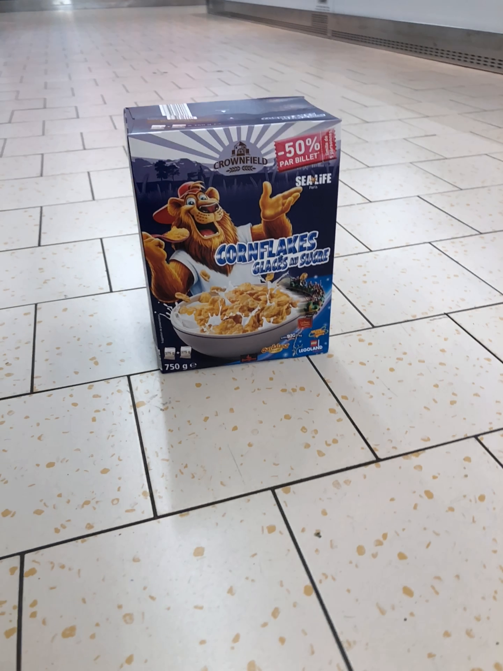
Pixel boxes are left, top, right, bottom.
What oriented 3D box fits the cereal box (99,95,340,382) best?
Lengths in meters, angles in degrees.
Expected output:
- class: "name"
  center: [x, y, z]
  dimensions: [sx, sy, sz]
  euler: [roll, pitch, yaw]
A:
- class: "cereal box"
  center: [-0.032, -0.106, 0.600]
  dimensions: [0.210, 0.258, 0.131]
  euler: [-6, 32, -8]
